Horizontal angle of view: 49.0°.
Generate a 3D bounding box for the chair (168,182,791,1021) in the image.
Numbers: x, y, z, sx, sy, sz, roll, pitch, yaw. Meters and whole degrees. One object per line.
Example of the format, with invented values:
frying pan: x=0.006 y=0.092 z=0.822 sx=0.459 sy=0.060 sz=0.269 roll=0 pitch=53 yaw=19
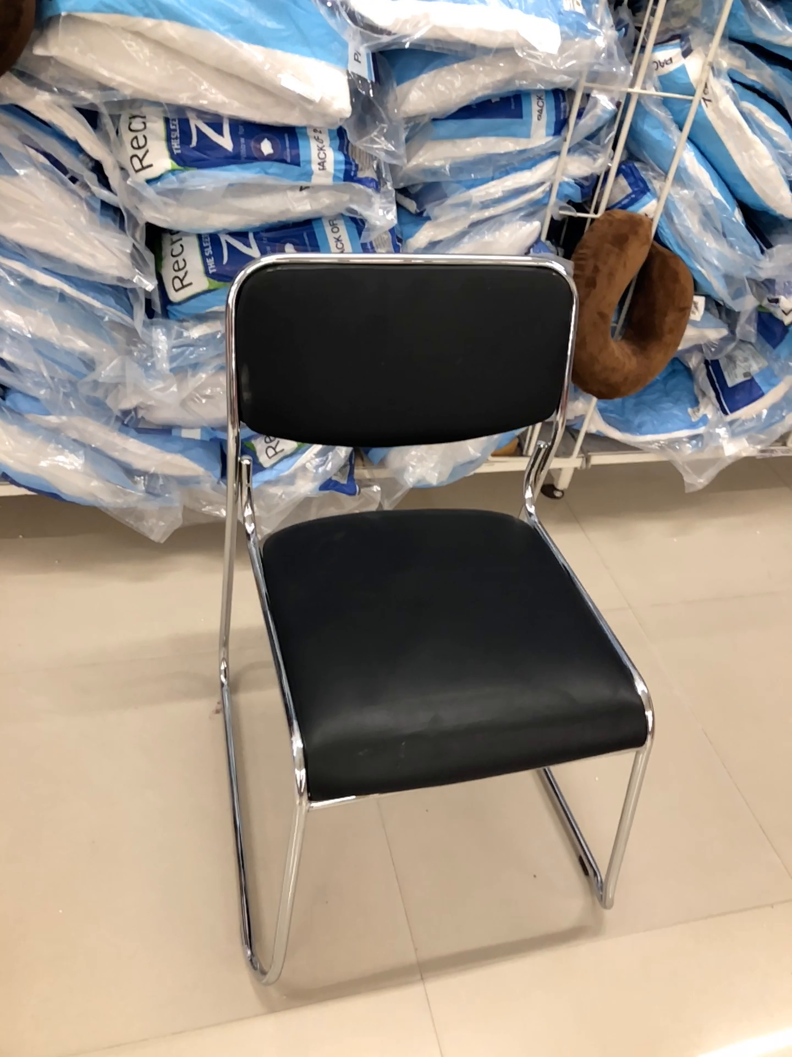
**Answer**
chair: x=0.039 y=0.093 z=1.075 sx=0.571 sy=0.794 sz=0.563 roll=-3 pitch=42 yaw=-16
